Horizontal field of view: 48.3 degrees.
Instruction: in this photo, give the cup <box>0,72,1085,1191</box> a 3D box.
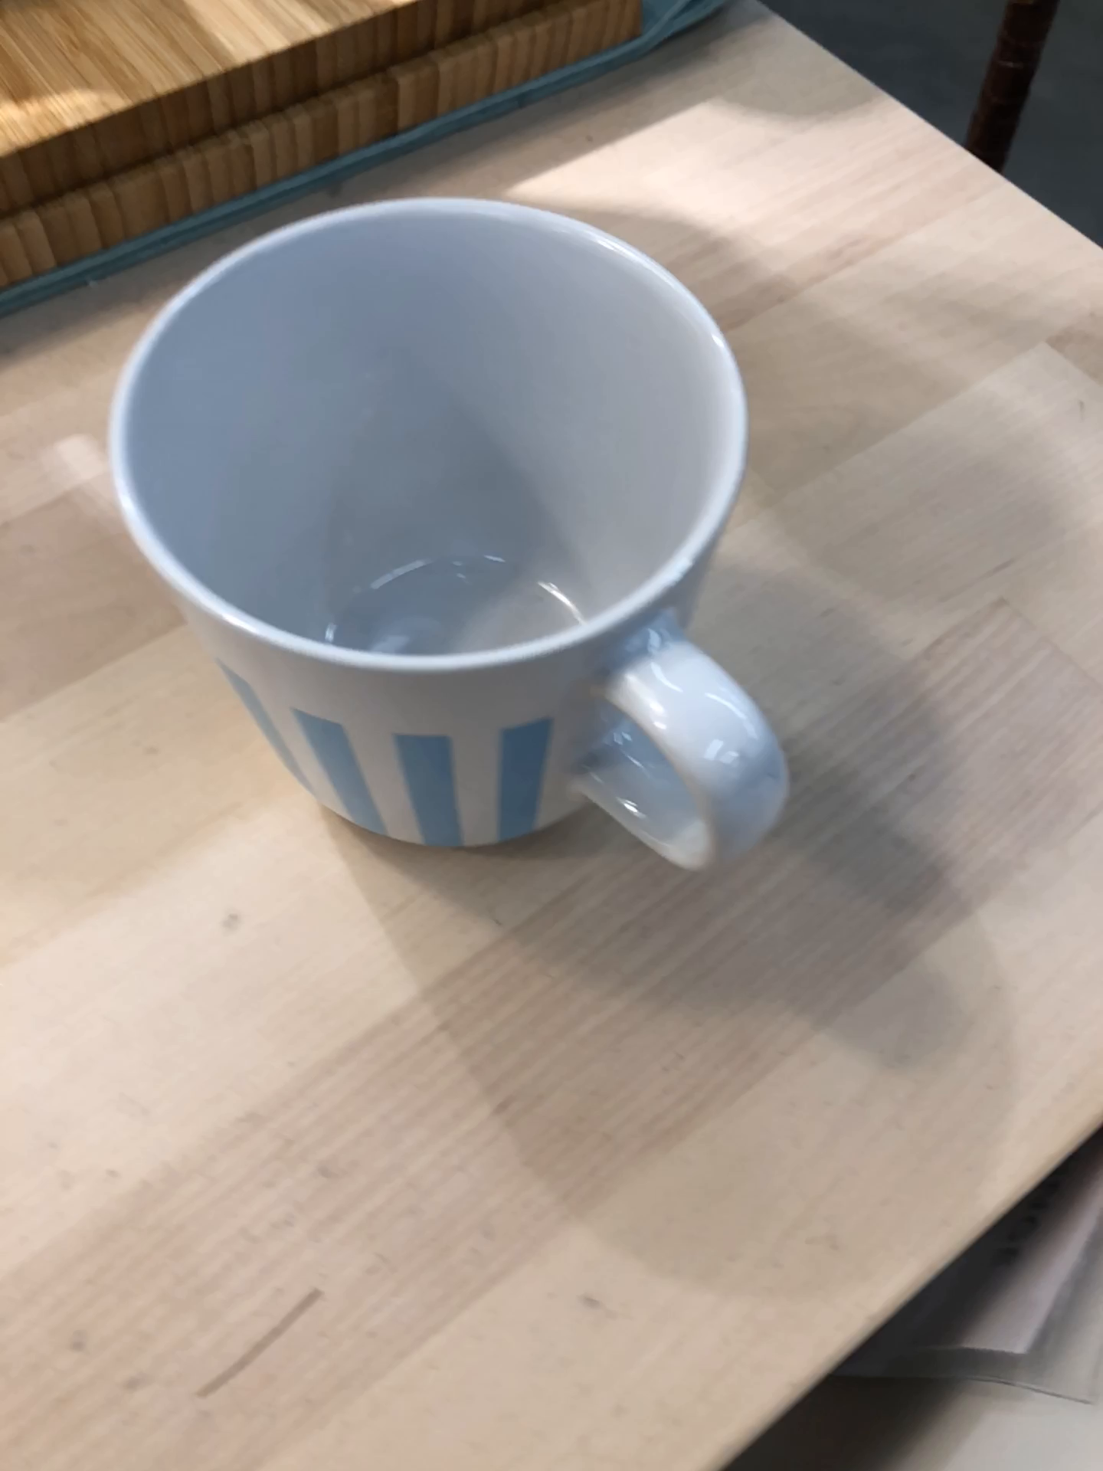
[{"bbox_3d":[-0.010,-0.016,0.181,0.080,0.080,0.120,-33,65,-17],"label":"cup"}]
